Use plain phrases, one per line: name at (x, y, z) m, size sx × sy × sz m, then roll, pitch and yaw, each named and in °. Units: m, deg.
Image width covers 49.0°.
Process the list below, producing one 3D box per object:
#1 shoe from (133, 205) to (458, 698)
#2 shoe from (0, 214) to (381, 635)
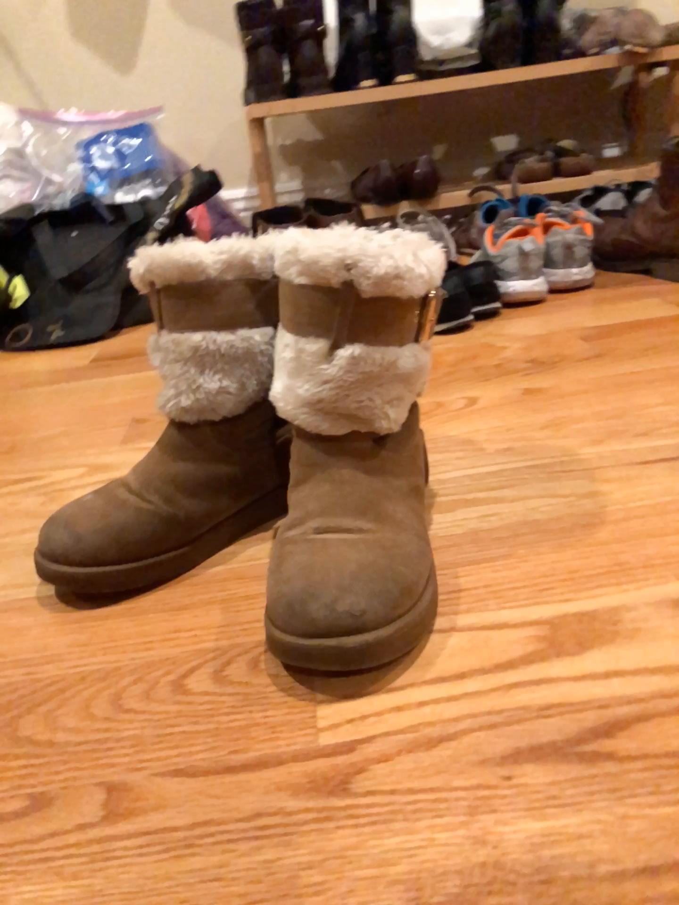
shoe at (0.005, -0.023, 0.436) m, size 0.113 × 0.193 × 0.255 m, roll -3°, pitch 24°, yaw 11°
shoe at (-0.111, -0.039, 0.503) m, size 0.255 × 0.193 × 0.106 m, roll -25°, pitch 28°, yaw -34°
